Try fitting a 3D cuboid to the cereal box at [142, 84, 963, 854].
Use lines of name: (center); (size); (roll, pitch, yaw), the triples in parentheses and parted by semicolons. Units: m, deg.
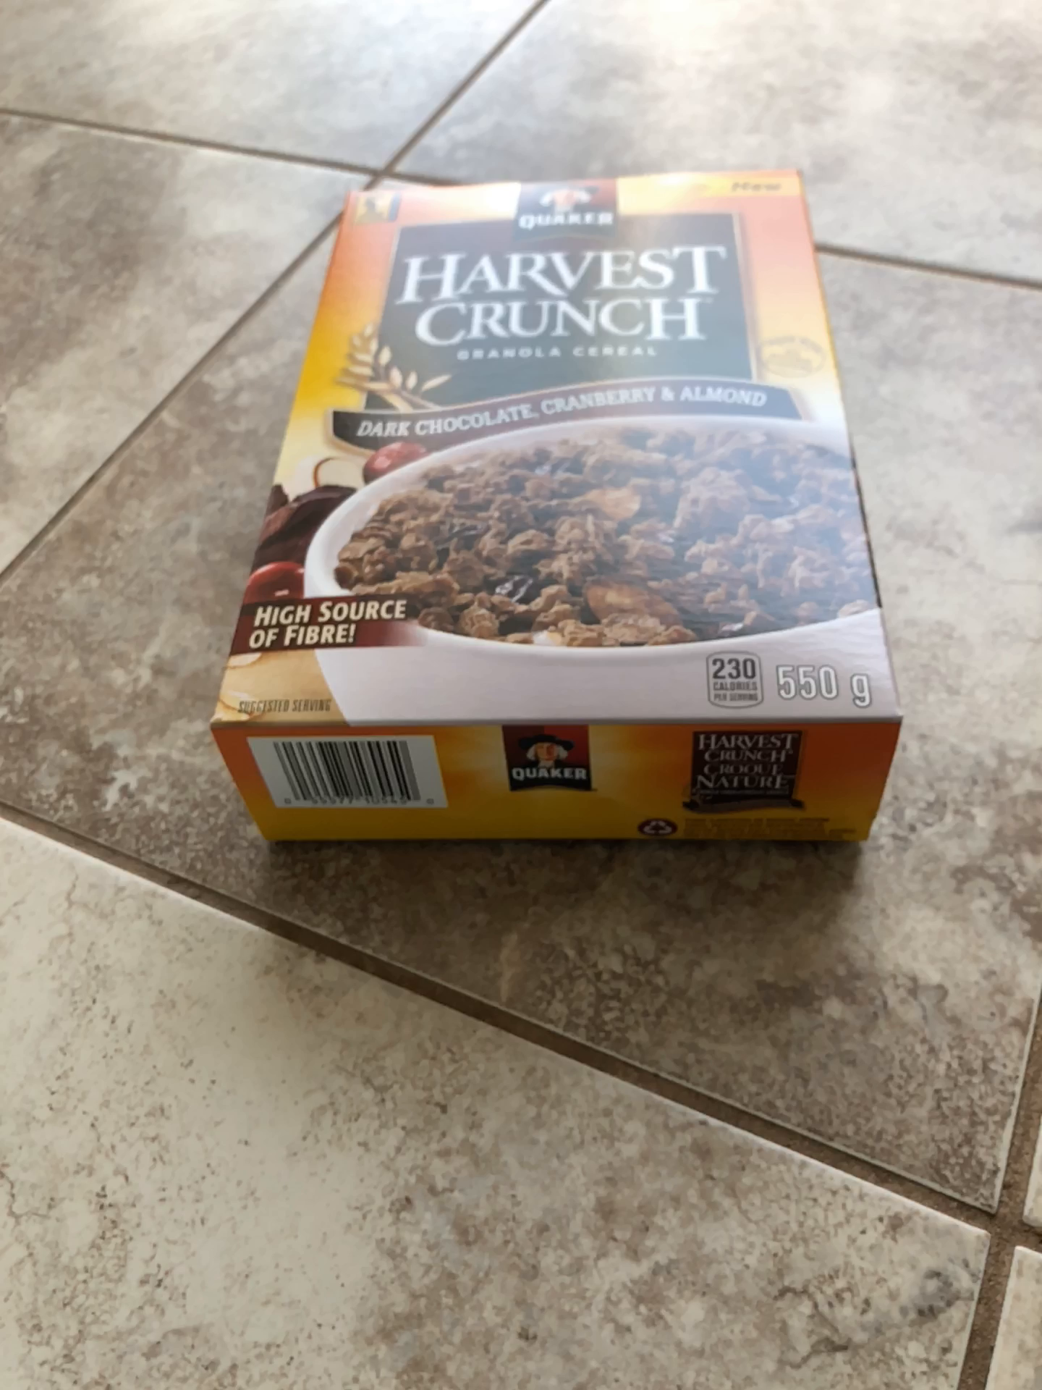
cereal box: (0.013, -0.081, 0.346); (0.170, 0.070, 0.251); (0, 52, 5)
